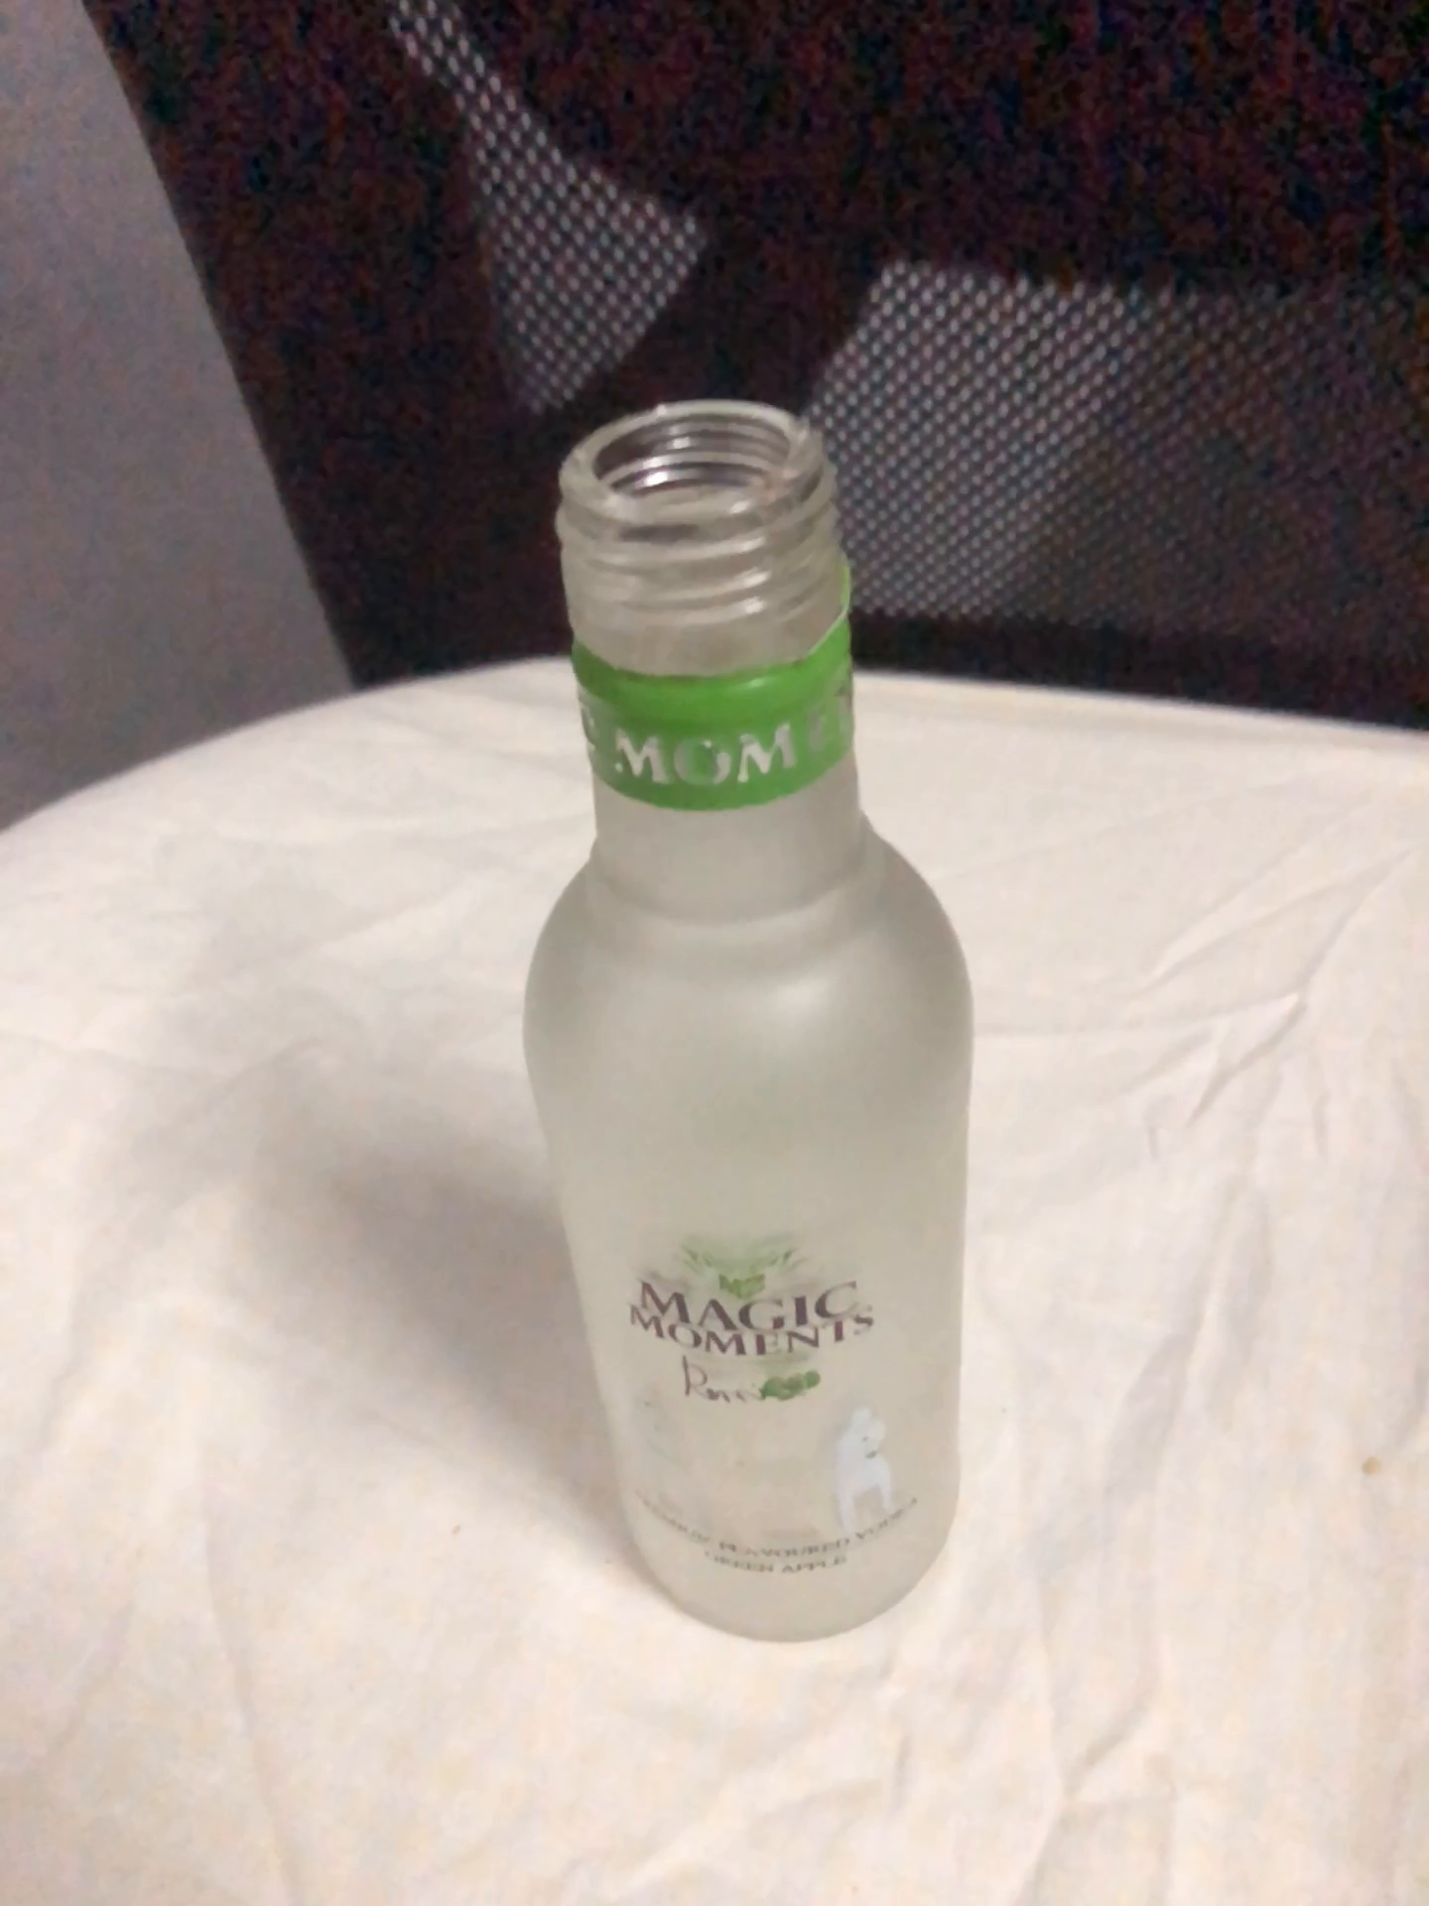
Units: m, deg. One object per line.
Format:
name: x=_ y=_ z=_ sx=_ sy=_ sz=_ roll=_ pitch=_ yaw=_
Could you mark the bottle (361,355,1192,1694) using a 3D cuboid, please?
bottle: x=0.013 y=0.023 z=0.190 sx=0.060 sy=0.169 sz=0.050 roll=3 pitch=43 yaw=9
